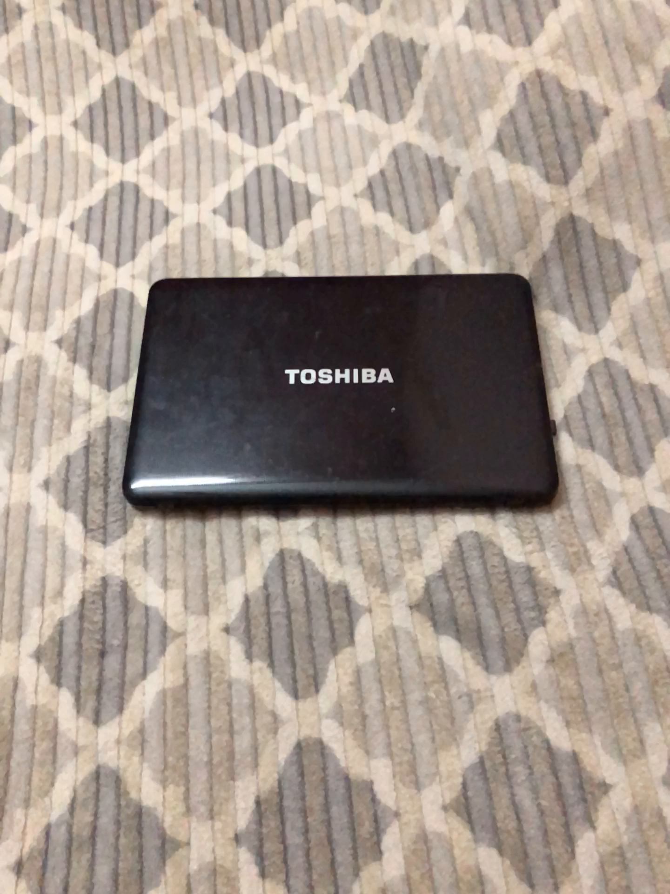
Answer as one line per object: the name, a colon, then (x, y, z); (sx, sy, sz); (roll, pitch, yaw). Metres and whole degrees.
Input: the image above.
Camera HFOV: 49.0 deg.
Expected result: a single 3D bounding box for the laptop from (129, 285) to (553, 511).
laptop: (0.002, -0.055, 0.723); (0.375, 0.023, 0.249); (-1, 60, 1)
